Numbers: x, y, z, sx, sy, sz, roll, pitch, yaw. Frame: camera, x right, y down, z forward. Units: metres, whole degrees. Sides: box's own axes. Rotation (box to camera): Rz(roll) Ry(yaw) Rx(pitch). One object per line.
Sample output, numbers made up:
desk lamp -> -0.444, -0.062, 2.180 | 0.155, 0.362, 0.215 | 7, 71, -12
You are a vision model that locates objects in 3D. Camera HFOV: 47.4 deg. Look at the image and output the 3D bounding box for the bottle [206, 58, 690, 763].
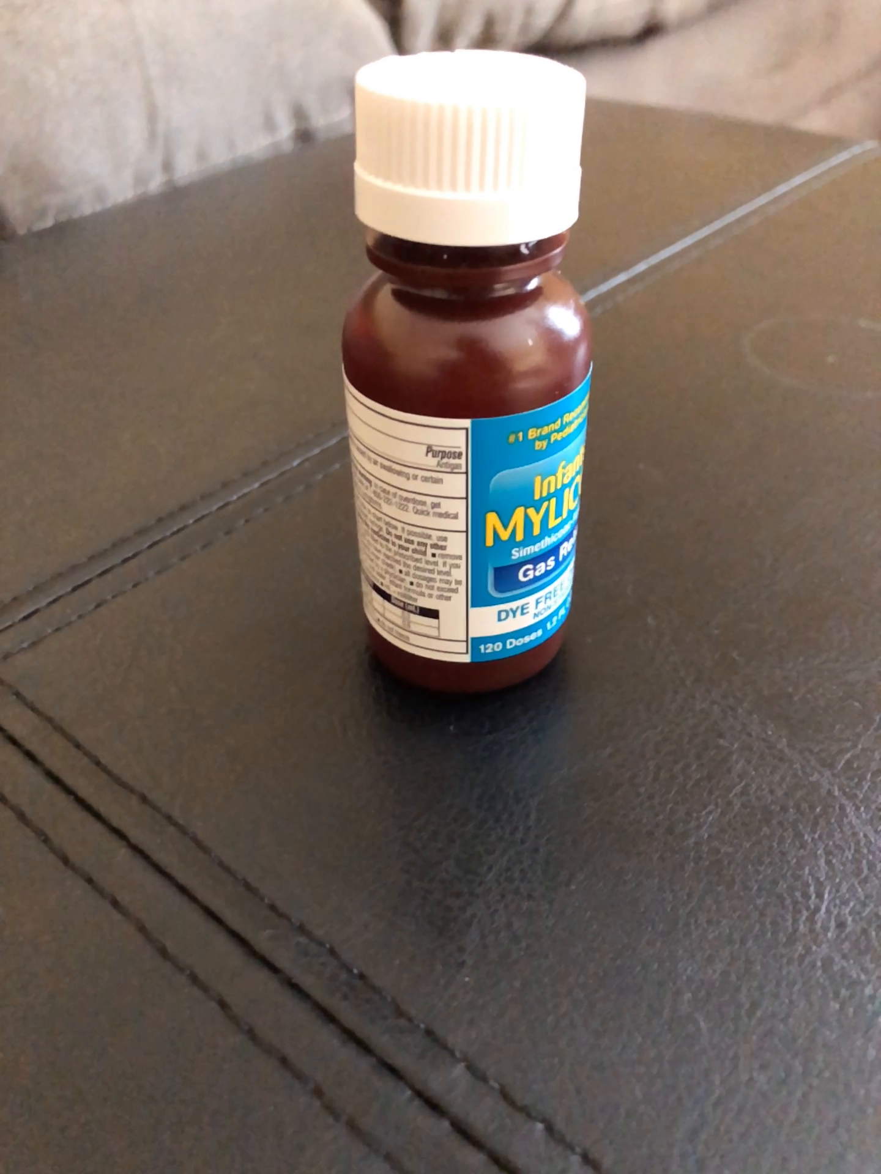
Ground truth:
bottle -> 0.003, -0.023, 0.140 | 0.040, 0.080, 0.040 | -1, 39, 1
